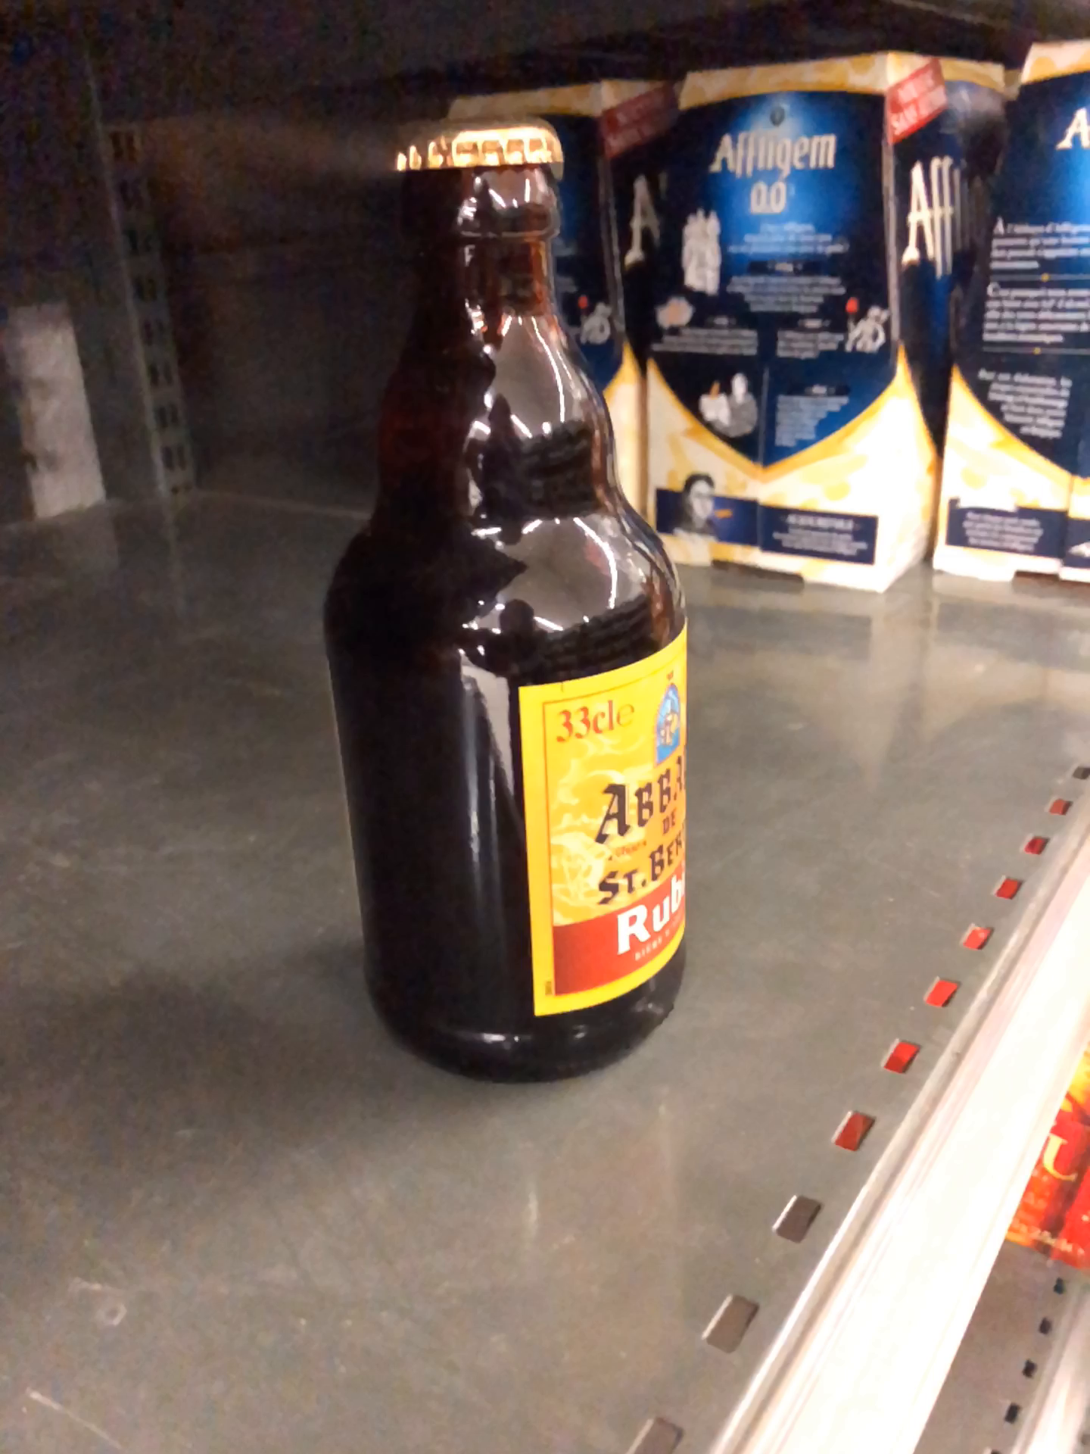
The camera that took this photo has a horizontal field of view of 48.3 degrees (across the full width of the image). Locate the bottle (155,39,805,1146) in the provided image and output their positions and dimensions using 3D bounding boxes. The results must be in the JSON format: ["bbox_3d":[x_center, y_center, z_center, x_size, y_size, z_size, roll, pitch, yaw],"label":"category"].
[{"bbox_3d":[-0.003,-0.026,0.227,0.070,0.169,0.080,12,28,32],"label":"bottle"}]
